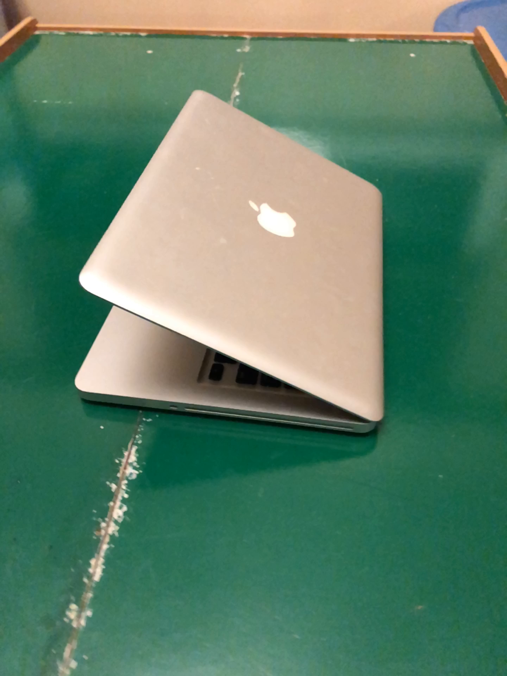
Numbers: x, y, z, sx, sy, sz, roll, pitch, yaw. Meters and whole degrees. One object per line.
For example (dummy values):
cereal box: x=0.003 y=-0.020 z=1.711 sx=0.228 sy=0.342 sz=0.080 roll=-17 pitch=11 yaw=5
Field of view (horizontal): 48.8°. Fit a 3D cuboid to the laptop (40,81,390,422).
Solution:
laptop: x=0.002 y=-0.100 z=0.474 sx=0.210 sy=0.098 sz=0.316 roll=7 pitch=45 yaw=6
